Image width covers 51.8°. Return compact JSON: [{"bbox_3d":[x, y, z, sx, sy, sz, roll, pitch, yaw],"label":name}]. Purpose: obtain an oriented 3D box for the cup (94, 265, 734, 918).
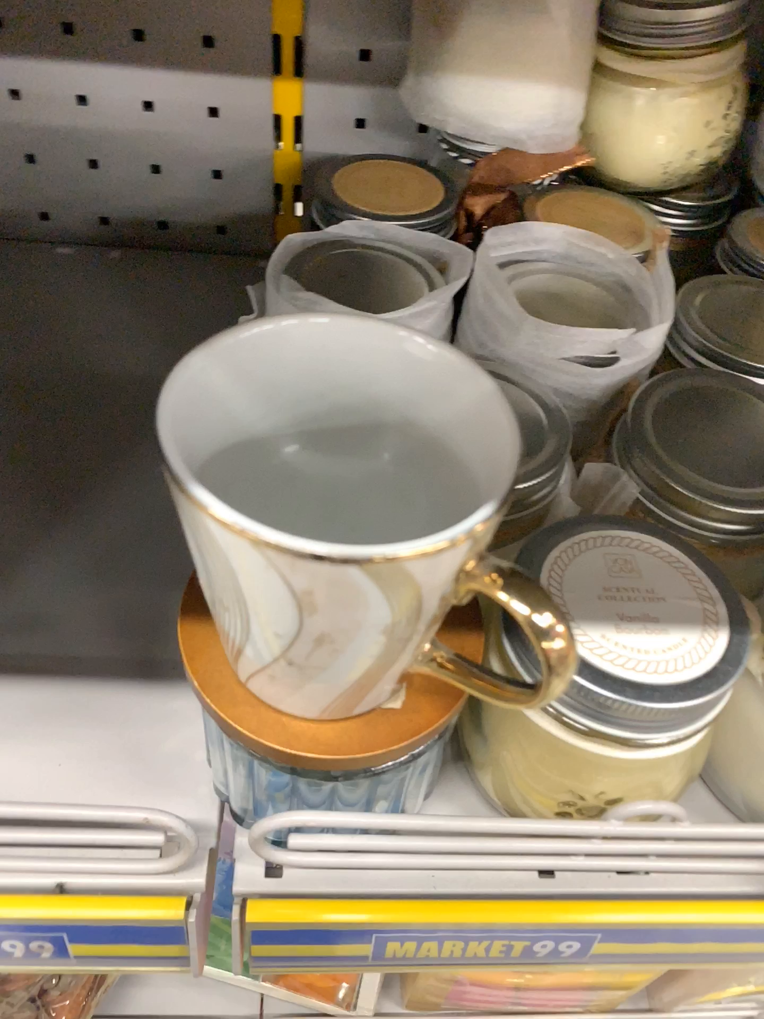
[{"bbox_3d":[0.002,0.014,0.169,0.090,0.080,0.070,37,54,25],"label":"cup"}]
